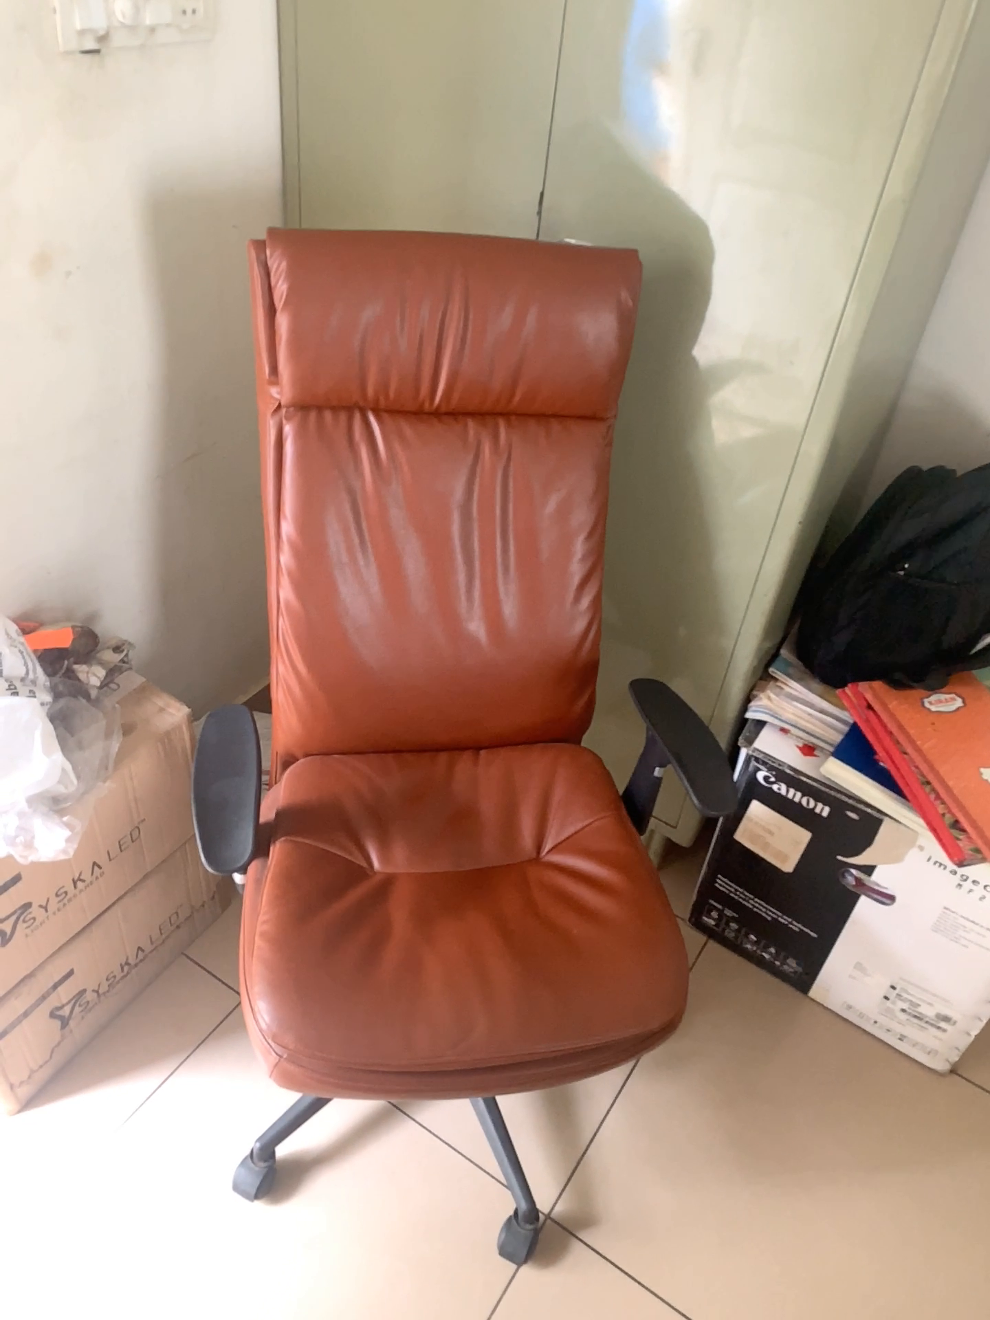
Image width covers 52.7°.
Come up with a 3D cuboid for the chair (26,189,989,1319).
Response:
[{"bbox_3d":[-0.038,0.127,1.291,0.690,1.086,0.934,-2,41,-11],"label":"chair"}]
